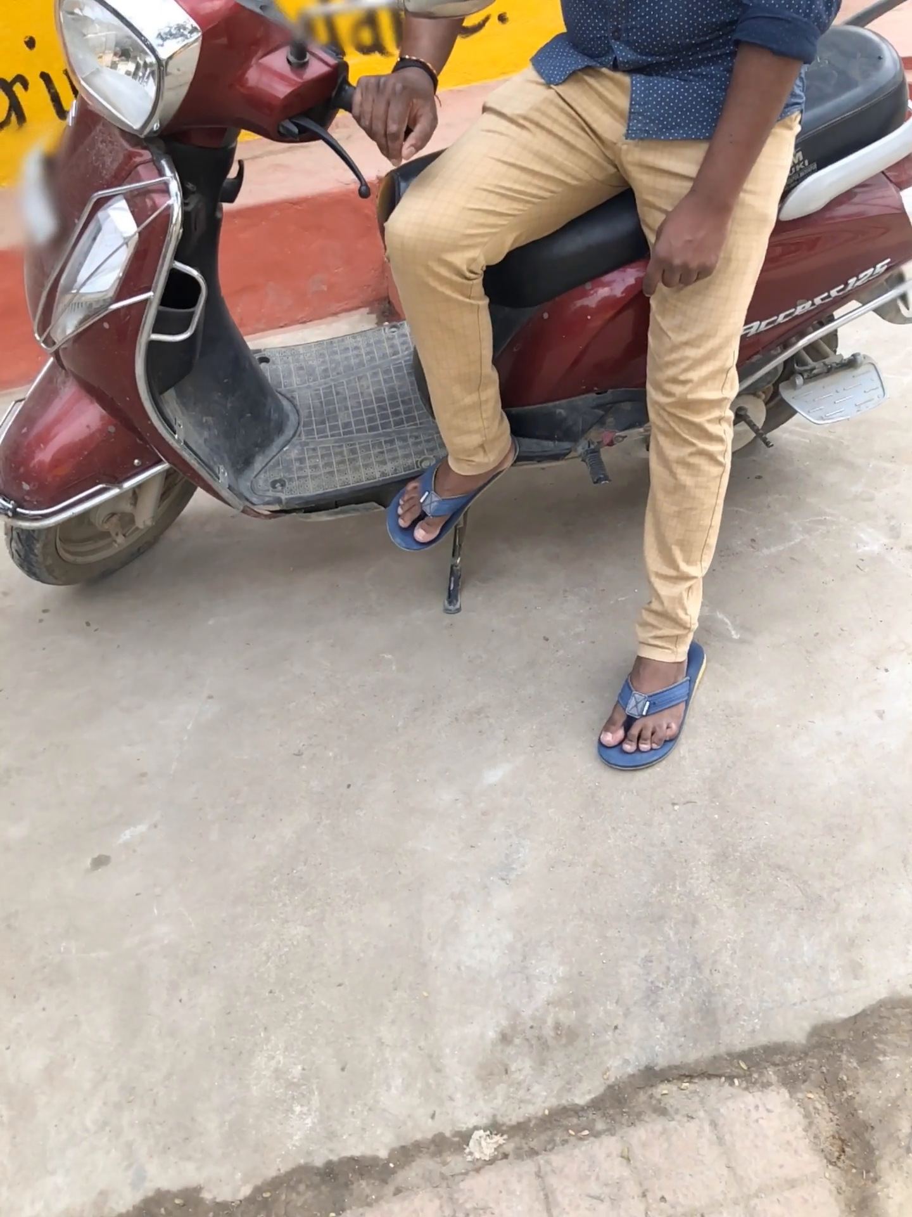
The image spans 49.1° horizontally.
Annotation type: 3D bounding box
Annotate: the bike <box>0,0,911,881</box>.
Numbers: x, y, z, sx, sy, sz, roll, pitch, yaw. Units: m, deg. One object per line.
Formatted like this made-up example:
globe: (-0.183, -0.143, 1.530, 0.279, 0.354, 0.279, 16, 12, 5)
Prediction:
bike: (-0.080, -0.424, 1.443, 1.378, 1.088, 0.631, -17, 40, -11)
